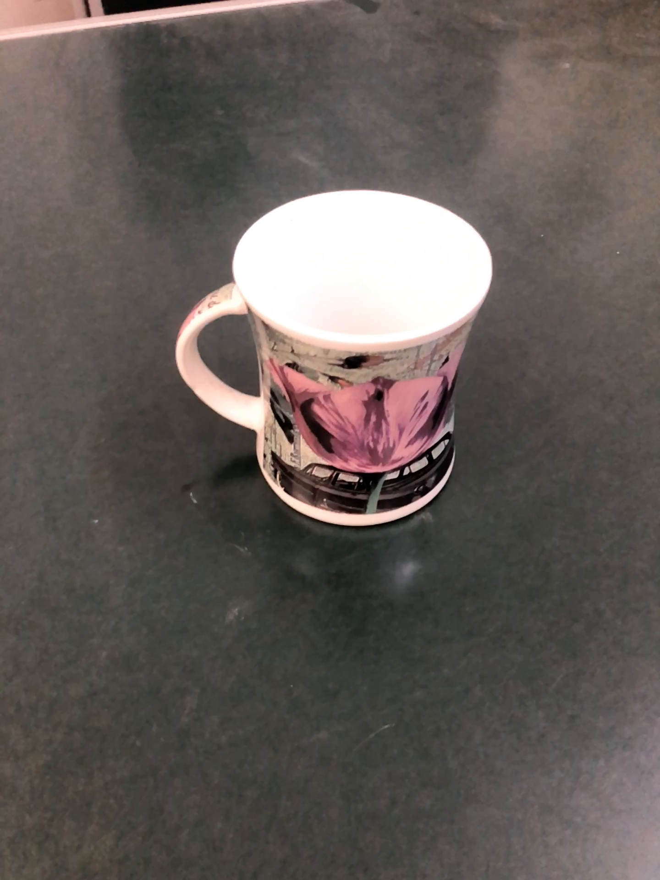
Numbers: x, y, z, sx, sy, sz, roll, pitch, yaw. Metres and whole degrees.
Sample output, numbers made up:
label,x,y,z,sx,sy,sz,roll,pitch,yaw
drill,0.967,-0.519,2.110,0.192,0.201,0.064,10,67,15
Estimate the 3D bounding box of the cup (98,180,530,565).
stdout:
label,x,y,z,sx,sy,sz,roll,pitch,yaw
cup,-0.005,-0.023,0.275,0.120,0.110,0.090,-1,48,-1
